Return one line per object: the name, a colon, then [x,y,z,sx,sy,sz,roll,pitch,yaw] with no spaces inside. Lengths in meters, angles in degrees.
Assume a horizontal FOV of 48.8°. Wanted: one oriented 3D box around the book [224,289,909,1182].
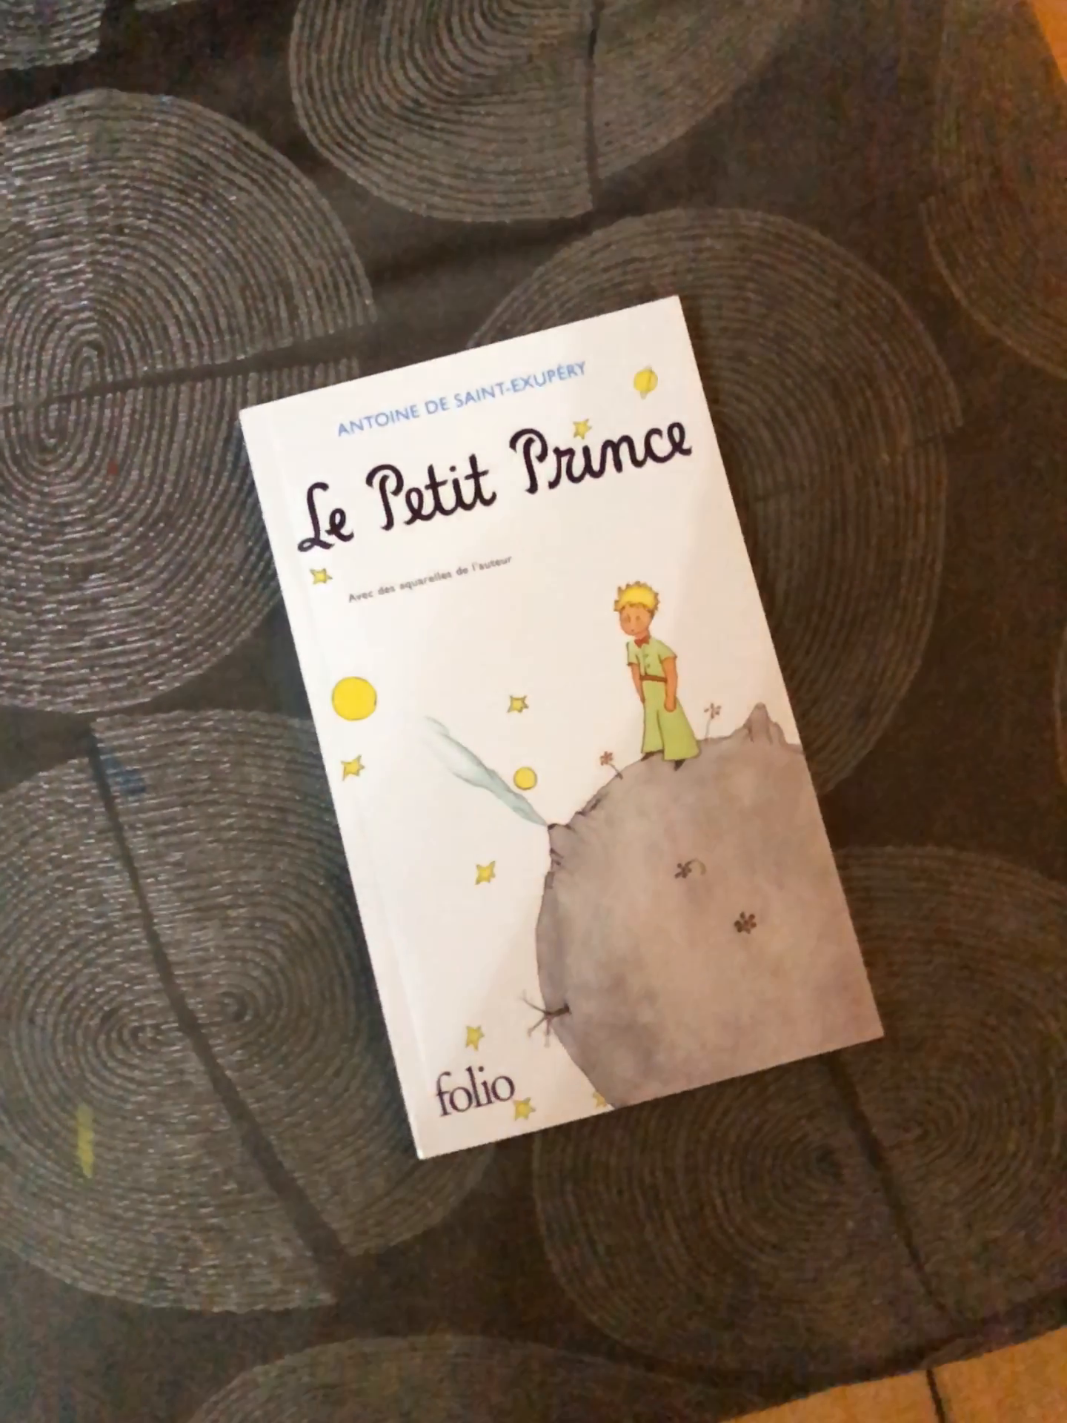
book: [0.007,0.004,0.267,0.110,0.030,0.170,-14,90,-2]
